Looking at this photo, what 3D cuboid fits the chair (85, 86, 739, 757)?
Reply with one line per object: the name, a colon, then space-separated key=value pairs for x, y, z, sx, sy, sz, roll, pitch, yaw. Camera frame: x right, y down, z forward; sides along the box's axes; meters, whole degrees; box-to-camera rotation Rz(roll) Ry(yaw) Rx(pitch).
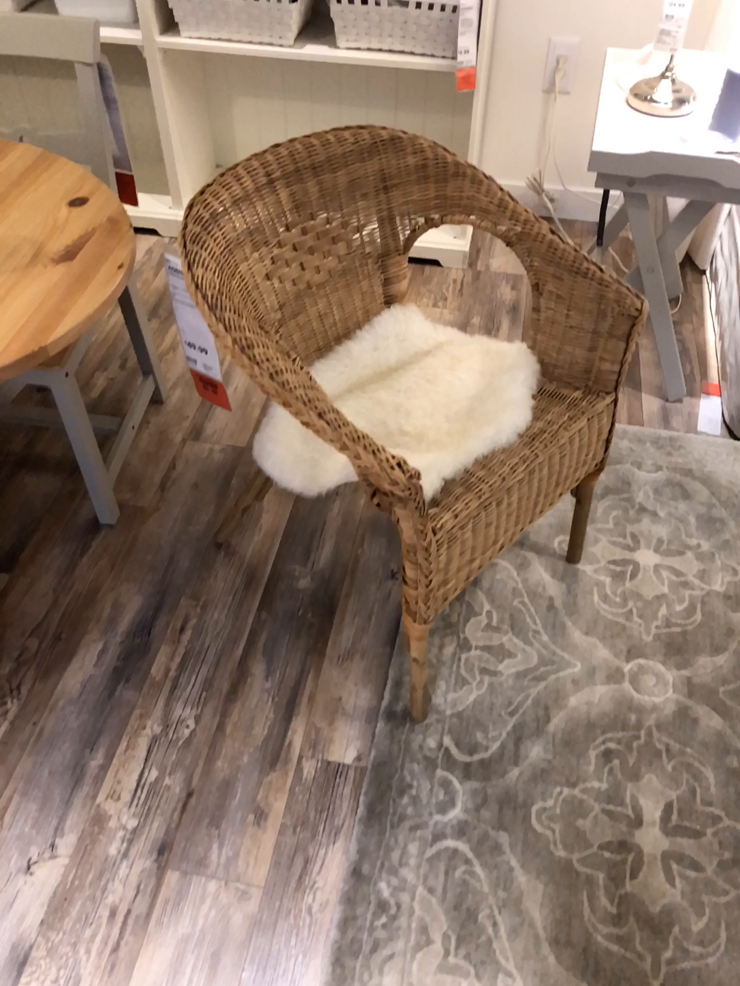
chair: x=0.059 y=-0.144 z=1.385 sx=0.651 sy=0.718 sz=0.631 roll=-36 pitch=56 yaw=-29
